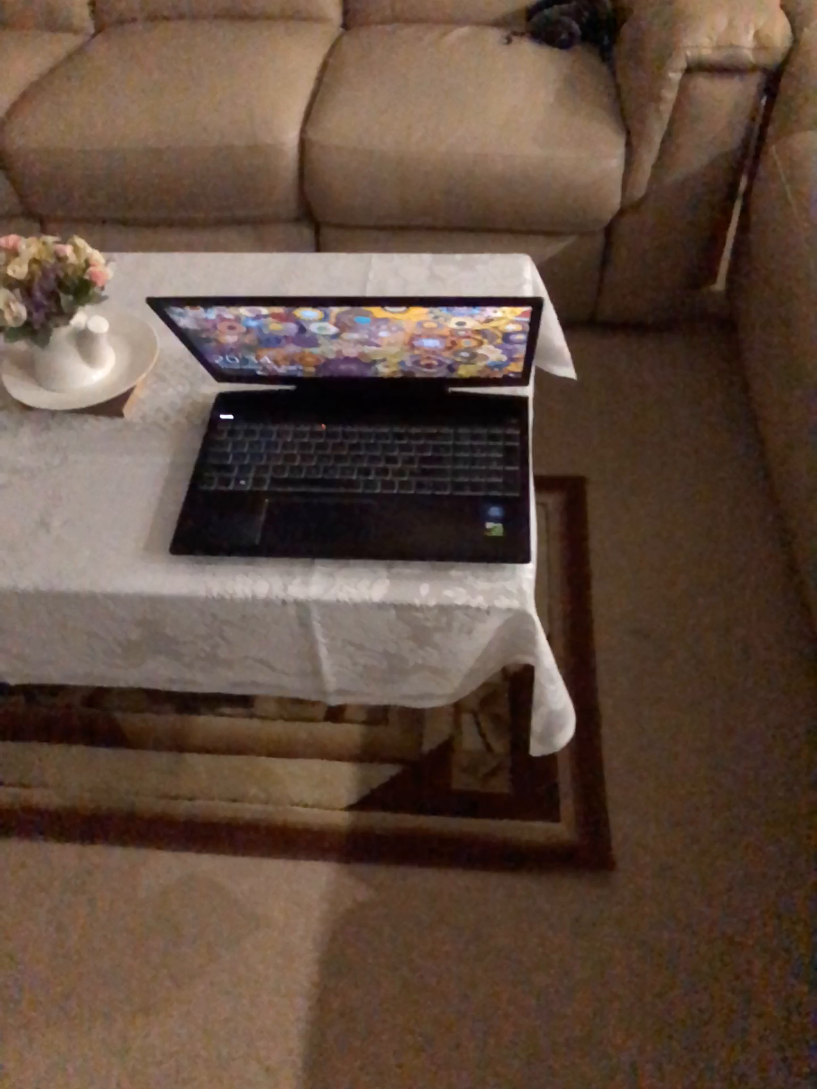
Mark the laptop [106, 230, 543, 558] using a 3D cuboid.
[{"bbox_3d":[-0.057,-0.147,0.874,0.355,0.199,0.244,1,50,5],"label":"laptop"}]
